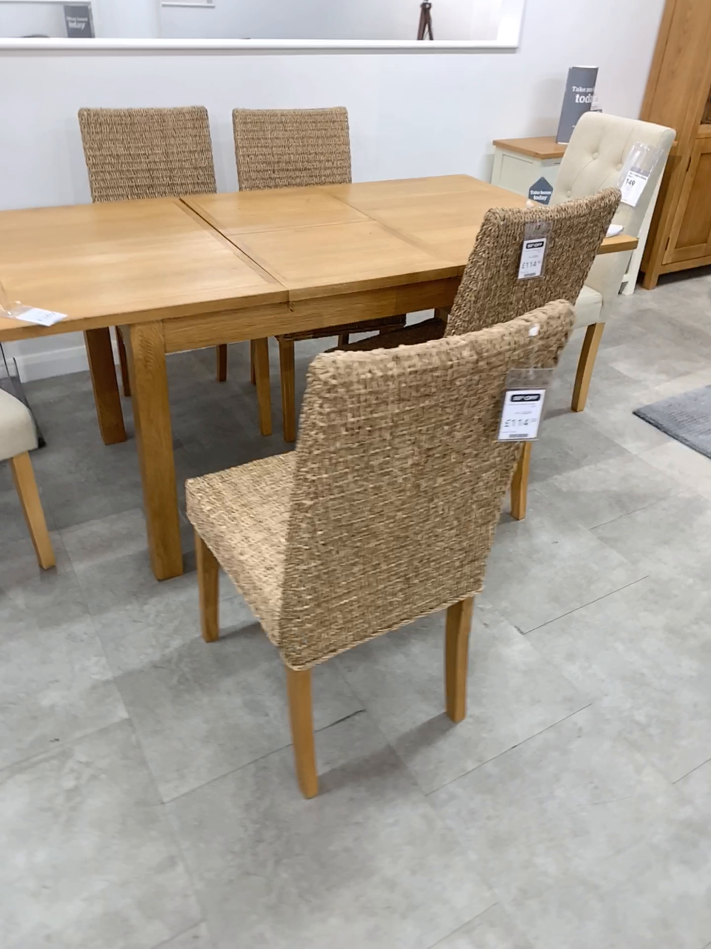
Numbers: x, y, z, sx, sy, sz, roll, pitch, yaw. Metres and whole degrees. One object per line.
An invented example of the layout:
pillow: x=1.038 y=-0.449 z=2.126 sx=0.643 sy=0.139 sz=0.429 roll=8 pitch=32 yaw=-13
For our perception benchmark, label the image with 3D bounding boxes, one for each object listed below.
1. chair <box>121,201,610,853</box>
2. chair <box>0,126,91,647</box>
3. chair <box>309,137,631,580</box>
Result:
chair: x=-0.033 y=0.067 z=1.300 sx=0.488 sy=0.903 sz=0.566 roll=-17 pitch=38 yaw=-27
chair: x=-0.938 y=-0.196 z=1.546 sx=0.399 sy=0.903 sz=0.515 roll=-24 pitch=42 yaw=-34
chair: x=0.221 y=-0.309 z=1.837 sx=0.439 sy=0.893 sz=0.556 roll=-21 pitch=40 yaw=-32
